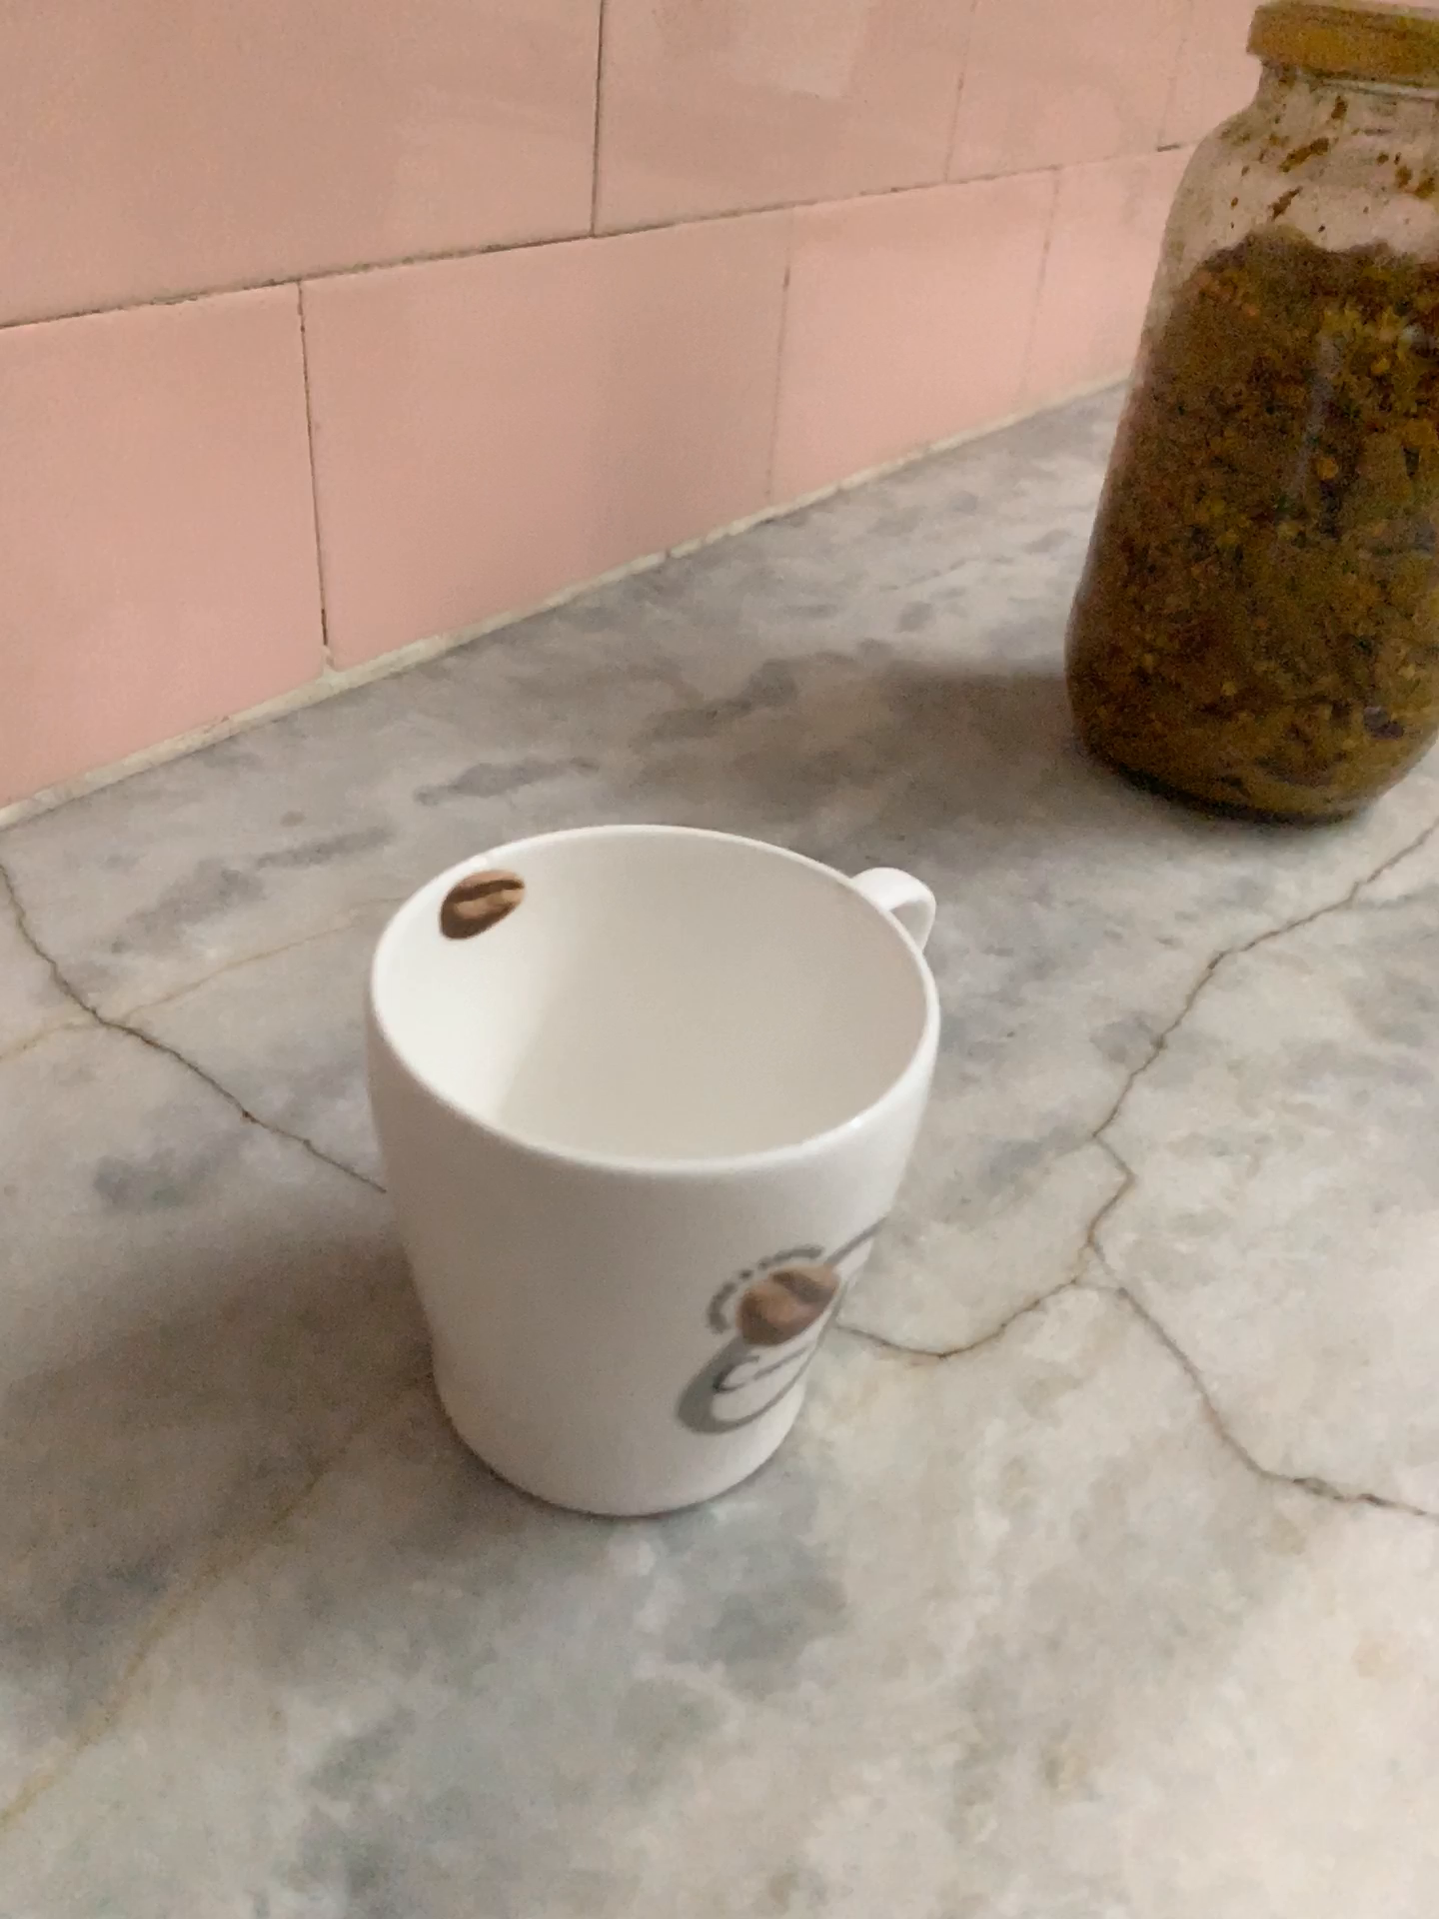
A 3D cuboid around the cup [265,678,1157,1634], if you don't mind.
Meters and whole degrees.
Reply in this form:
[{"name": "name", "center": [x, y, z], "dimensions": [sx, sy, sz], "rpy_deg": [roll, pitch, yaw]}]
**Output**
[{"name": "cup", "center": [0.002, 0.018, 0.211], "dimensions": [0.070, 0.070, 0.100], "rpy_deg": [25, 40, 25]}]
